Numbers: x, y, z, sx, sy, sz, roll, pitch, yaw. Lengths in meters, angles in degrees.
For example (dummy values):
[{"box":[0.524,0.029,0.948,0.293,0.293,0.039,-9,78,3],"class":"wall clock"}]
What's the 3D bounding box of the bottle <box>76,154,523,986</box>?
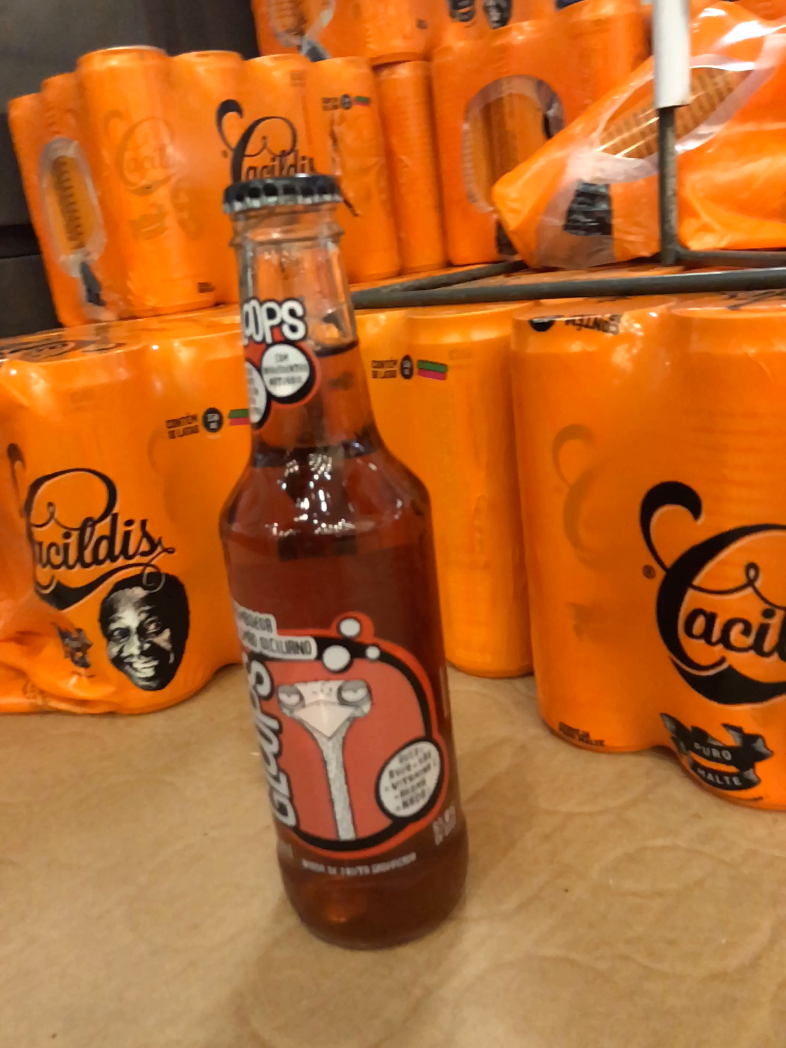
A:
[{"box":[-0.015,0.013,0.221,0.070,0.189,0.050,2,19,27],"class":"bottle"}]
